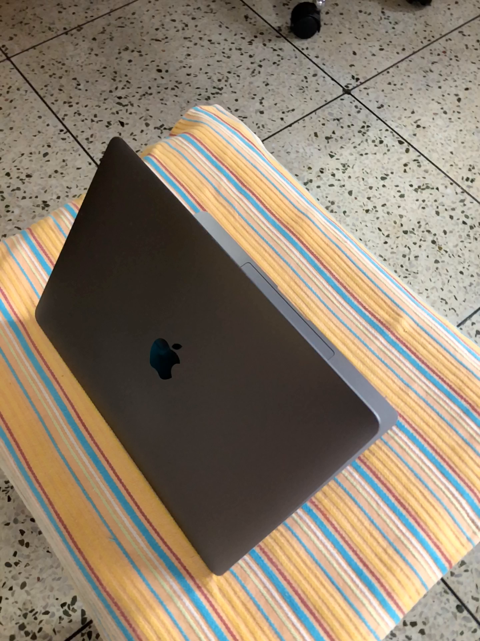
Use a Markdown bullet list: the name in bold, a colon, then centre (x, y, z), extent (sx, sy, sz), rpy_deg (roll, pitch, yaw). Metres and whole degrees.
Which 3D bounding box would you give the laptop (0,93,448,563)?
- **laptop**: centre (-0.033, 0.003, 0.443), extent (0.203, 0.160, 0.295), rpy_deg (-34, 69, -16)
